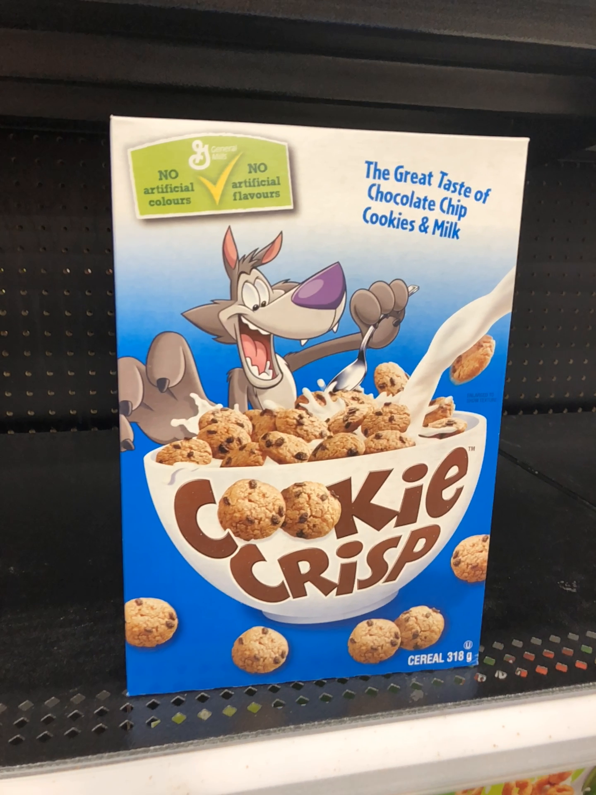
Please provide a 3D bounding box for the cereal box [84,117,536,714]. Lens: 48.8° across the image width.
[{"bbox_3d":[0.003,0.013,0.344,0.200,0.279,0.060,-1,12,-10],"label":"cereal box"}]
